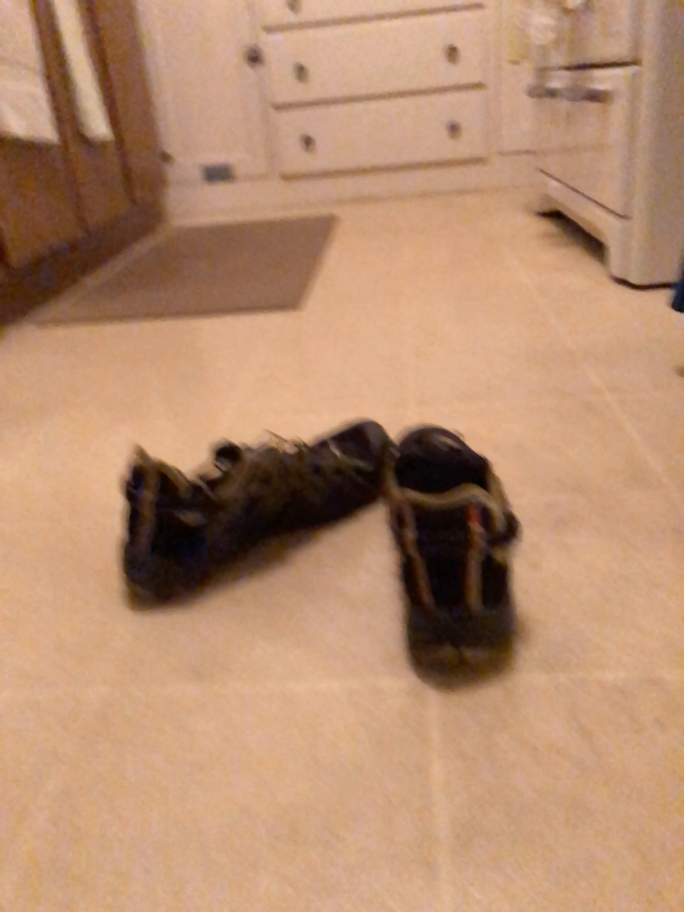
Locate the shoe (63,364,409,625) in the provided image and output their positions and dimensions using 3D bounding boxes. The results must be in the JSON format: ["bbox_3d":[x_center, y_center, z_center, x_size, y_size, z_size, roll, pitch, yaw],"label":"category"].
[{"bbox_3d":[-0.080,0.019,0.667,0.280,0.109,0.100,-24,31,-32],"label":"shoe"}]

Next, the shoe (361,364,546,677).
[{"bbox_3d":[0.076,0.031,0.610,0.109,0.111,0.288,-5,26,3],"label":"shoe"}]
